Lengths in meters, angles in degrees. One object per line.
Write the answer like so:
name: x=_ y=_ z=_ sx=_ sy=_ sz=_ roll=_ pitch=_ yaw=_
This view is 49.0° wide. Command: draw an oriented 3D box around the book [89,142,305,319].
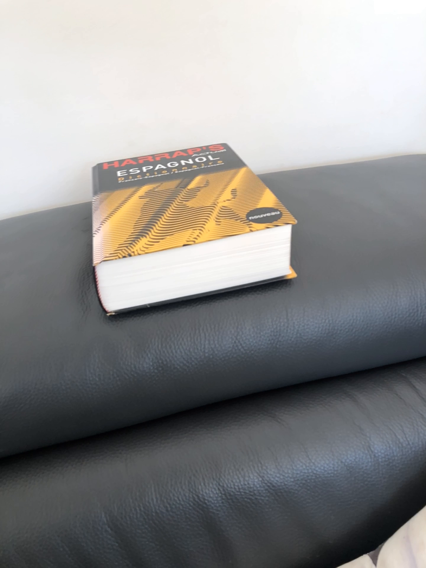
book: x=-0.035 y=-0.078 z=0.512 sx=0.185 sy=0.050 sz=0.261 roll=-12 pitch=34 yaw=-7
